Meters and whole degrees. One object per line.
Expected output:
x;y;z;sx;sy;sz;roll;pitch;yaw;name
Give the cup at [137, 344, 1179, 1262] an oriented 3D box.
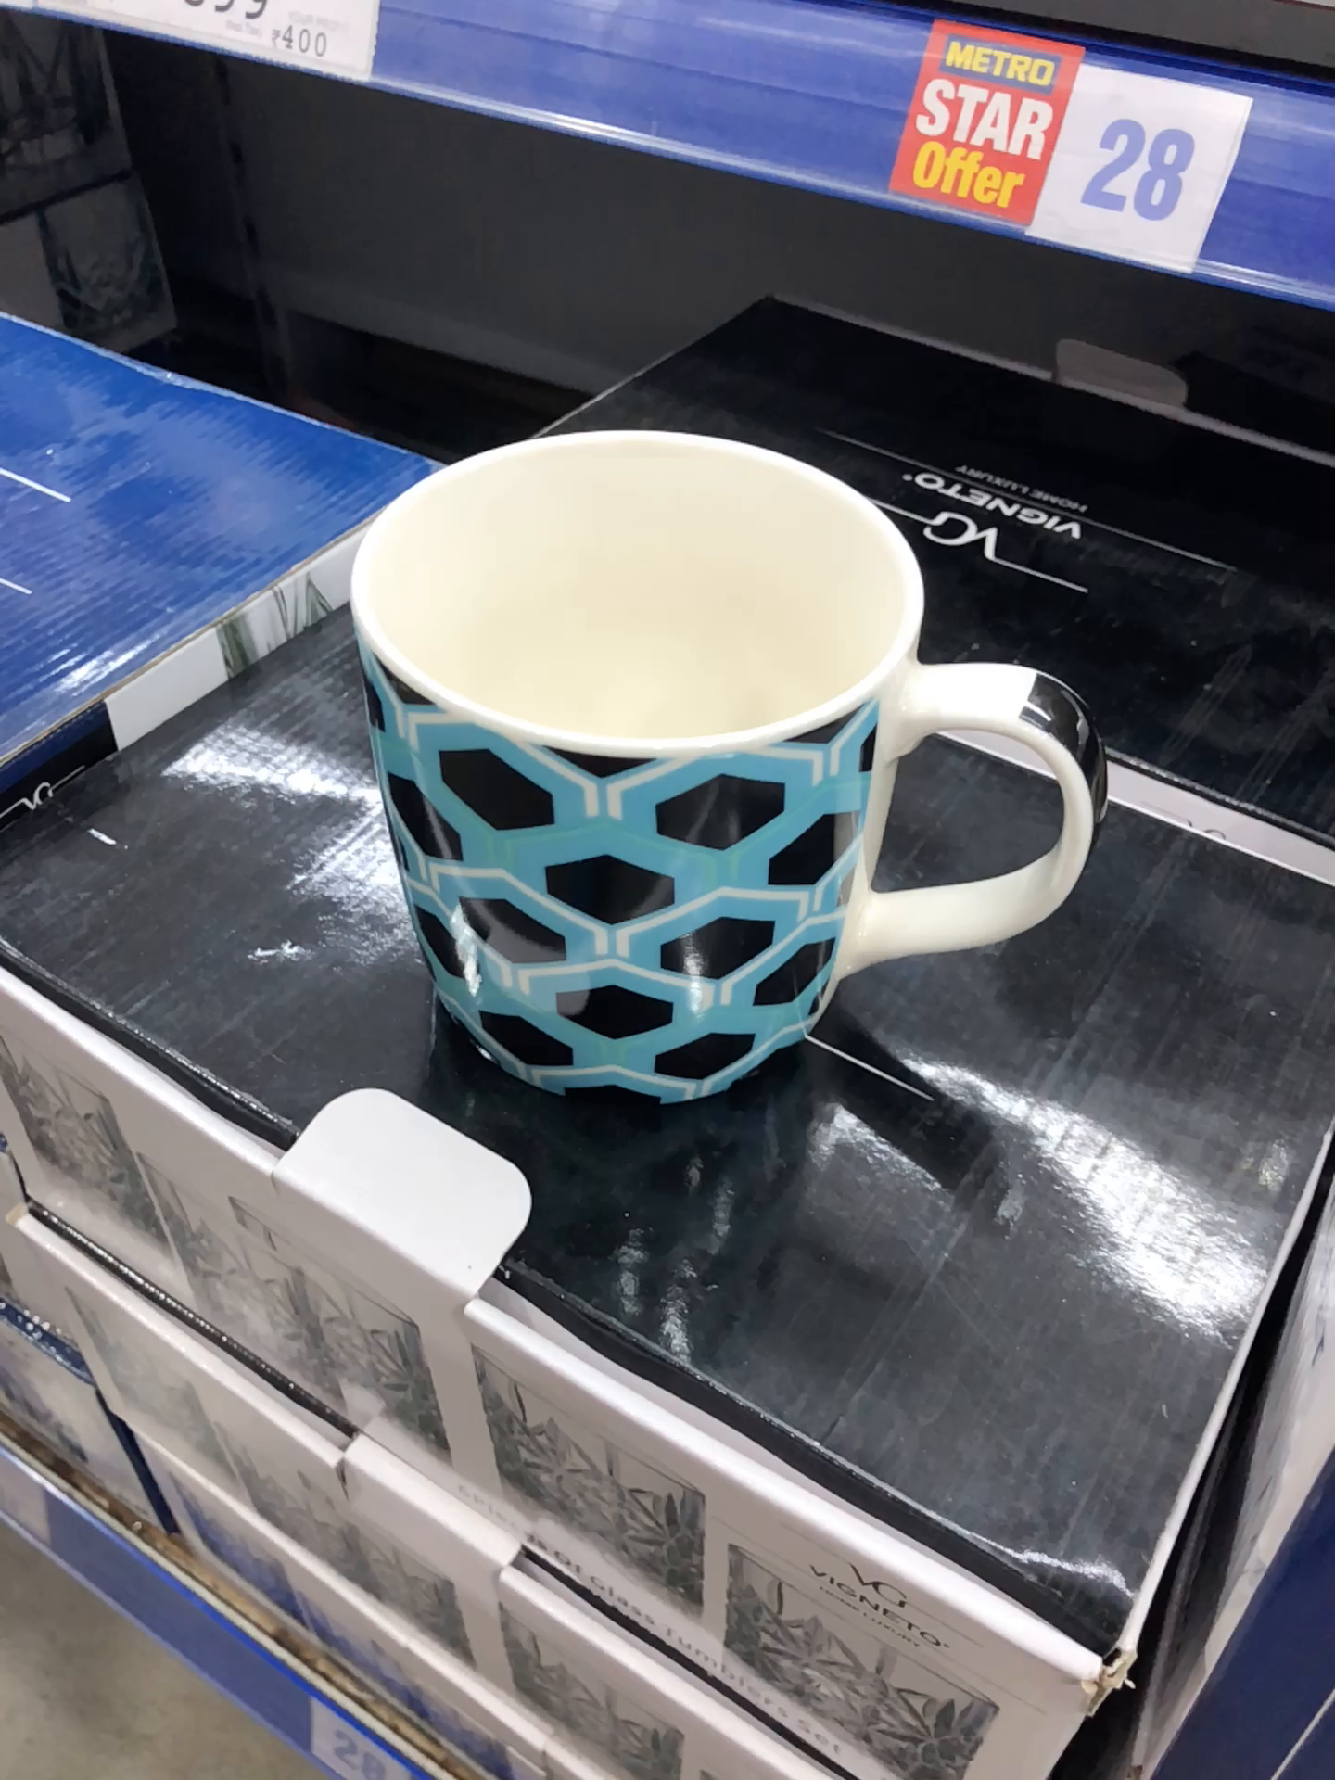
0.003;-0.020;0.251;0.130;0.090;0.090;15;45;14;cup
